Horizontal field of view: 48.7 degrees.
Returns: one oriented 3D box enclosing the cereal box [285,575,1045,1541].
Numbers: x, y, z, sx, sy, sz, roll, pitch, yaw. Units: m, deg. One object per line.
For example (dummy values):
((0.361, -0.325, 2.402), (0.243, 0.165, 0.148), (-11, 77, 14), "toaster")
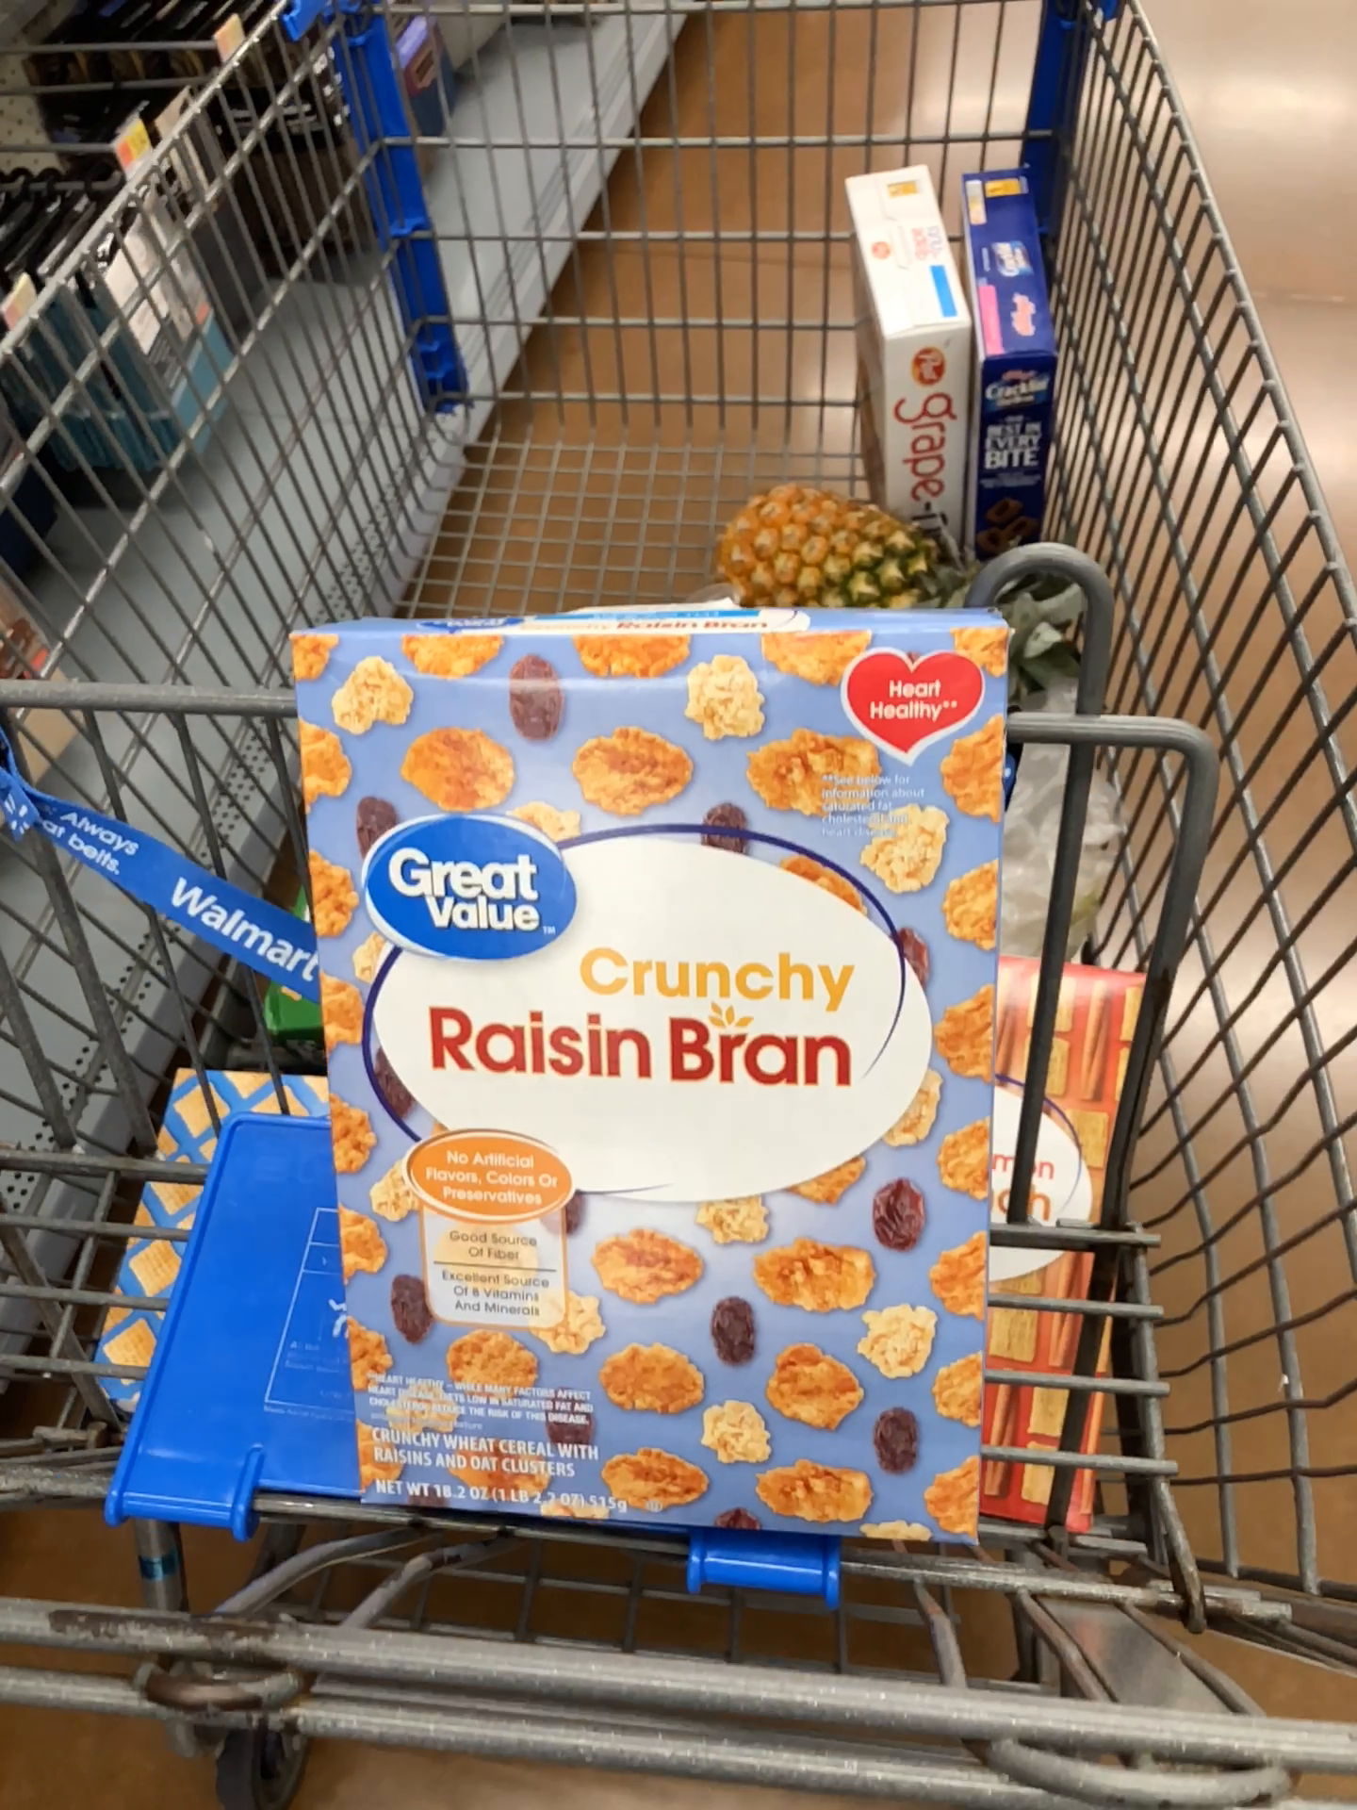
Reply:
((-0.002, 0.044, 0.459), (0.200, 0.280, 0.070), (1, 14, 6), "cereal box")
